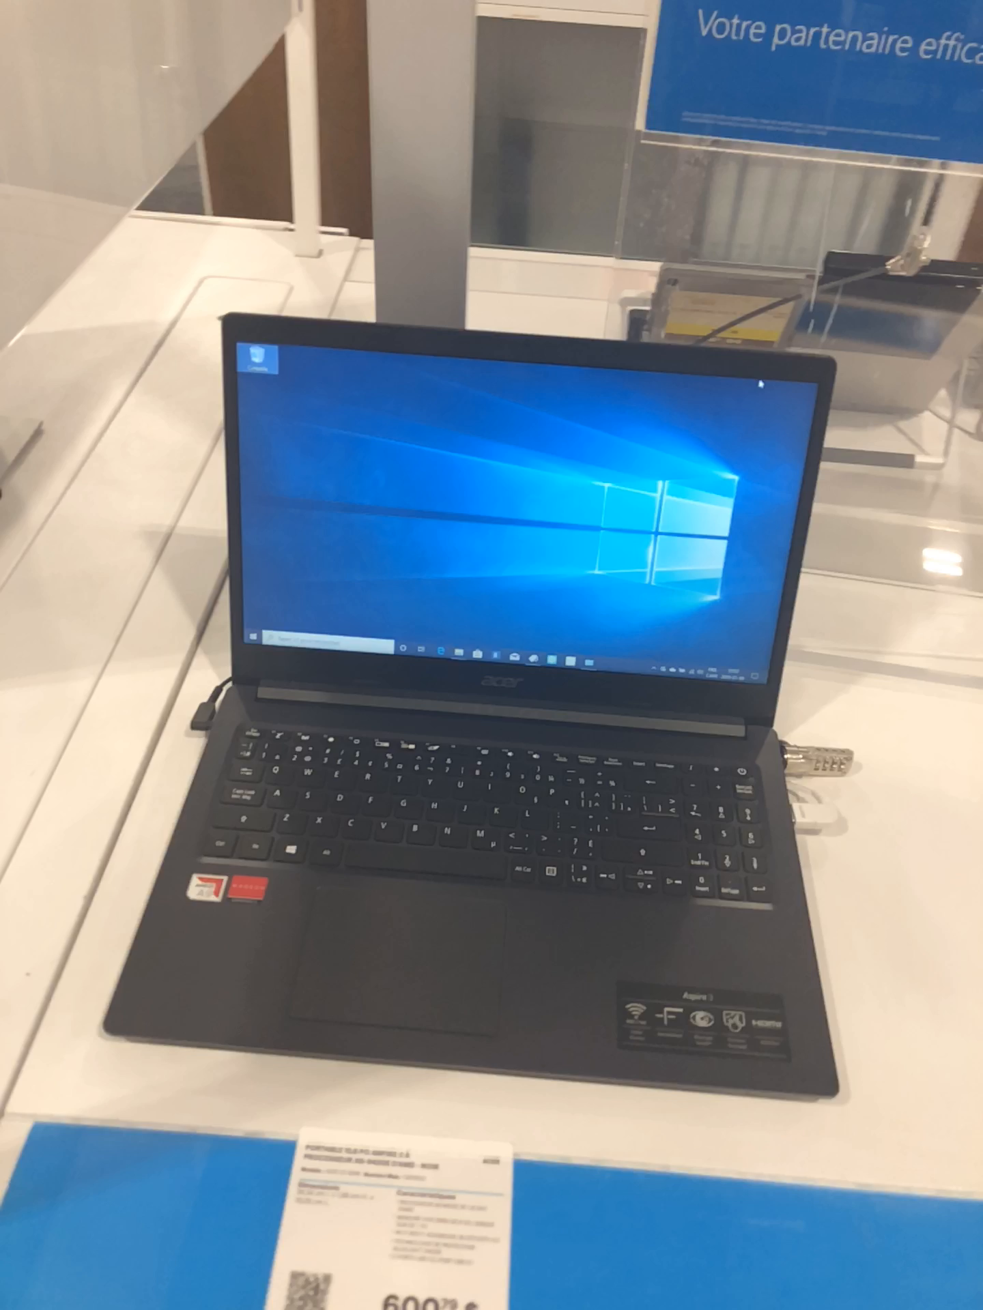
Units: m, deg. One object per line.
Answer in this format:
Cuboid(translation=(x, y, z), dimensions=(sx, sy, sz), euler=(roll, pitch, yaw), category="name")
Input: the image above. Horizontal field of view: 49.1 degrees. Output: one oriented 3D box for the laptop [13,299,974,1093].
Cuboid(translation=(0.005, 0.001, 0.603), dimensions=(0.367, 0.212, 0.351), euler=(5, 44, 1), category="laptop")
